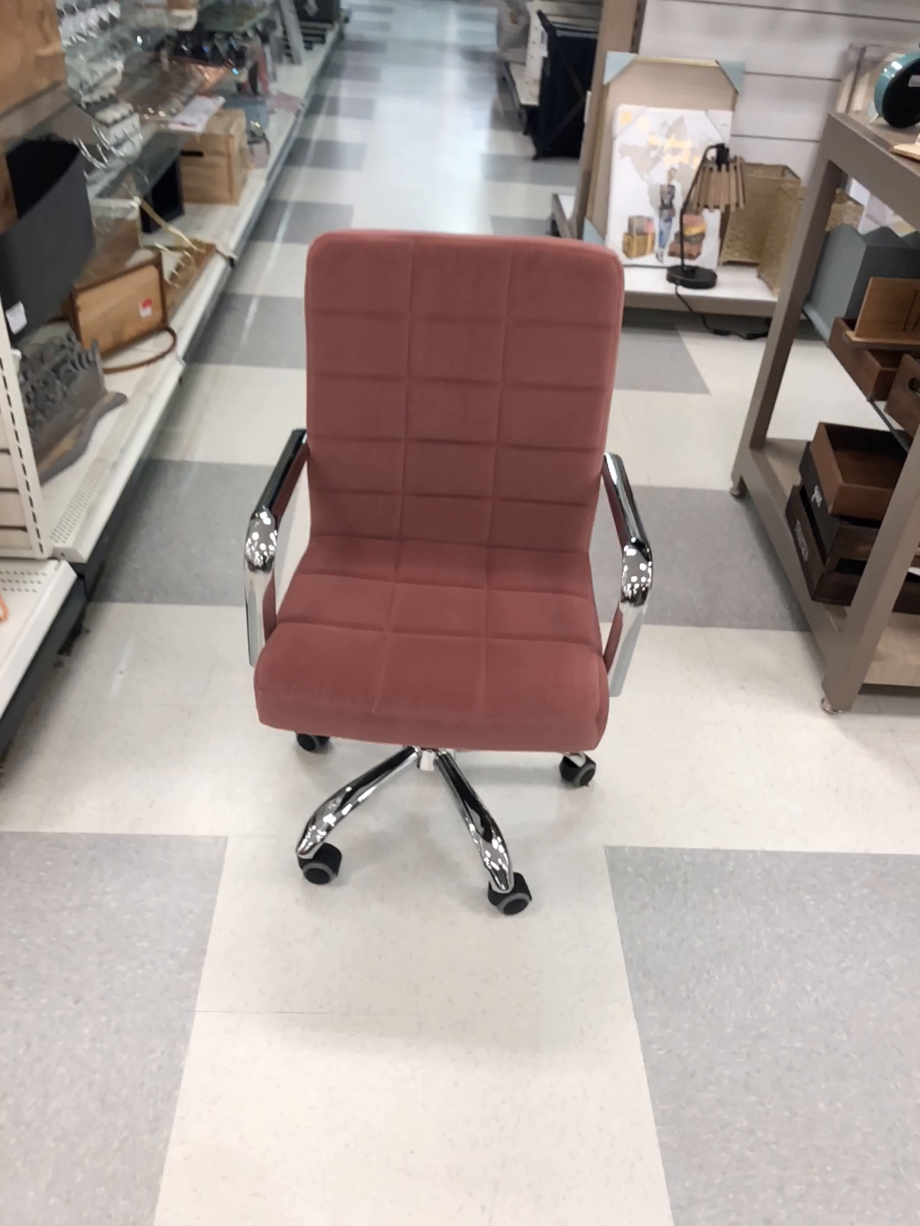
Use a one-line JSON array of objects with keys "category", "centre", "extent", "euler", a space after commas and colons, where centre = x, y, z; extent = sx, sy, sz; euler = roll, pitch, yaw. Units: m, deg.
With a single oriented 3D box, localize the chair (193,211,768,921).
[{"category": "chair", "centre": [-0.004, -0.060, 1.473], "extent": [0.574, 0.819, 0.565], "euler": [4, 36, -2]}]
